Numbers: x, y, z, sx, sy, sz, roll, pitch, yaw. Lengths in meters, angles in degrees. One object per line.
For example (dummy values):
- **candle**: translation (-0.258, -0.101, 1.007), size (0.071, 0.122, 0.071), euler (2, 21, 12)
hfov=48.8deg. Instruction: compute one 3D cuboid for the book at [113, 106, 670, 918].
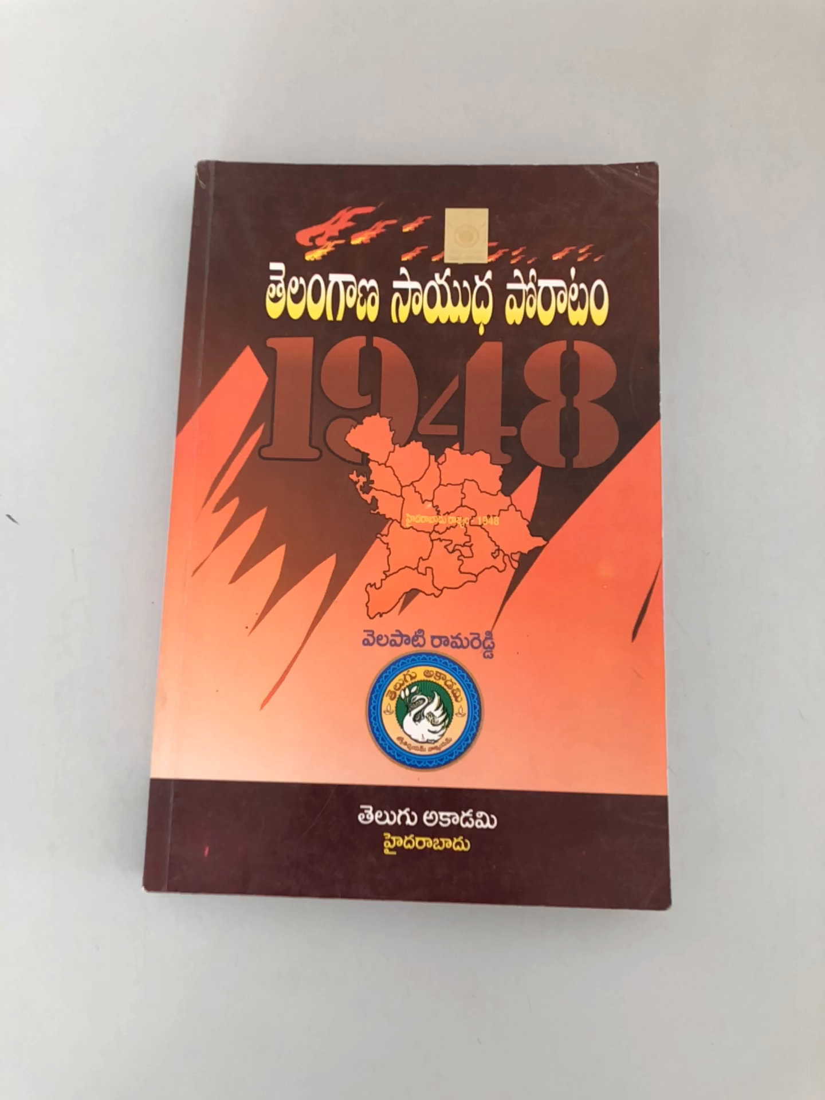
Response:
- **book**: translation (-0.003, -0.021, 0.315), size (0.170, 0.030, 0.270), euler (2, 80, 1)
